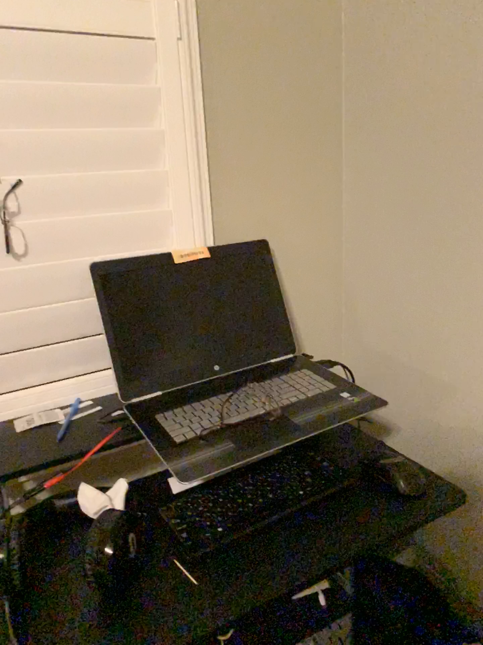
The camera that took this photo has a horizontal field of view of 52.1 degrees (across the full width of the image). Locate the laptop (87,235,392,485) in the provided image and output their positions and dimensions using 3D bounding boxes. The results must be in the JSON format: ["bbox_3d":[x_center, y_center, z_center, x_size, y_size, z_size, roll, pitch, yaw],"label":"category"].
[{"bbox_3d":[-0.017,0.013,0.980,0.433,0.264,0.419,-12,21,-29],"label":"laptop"}]
